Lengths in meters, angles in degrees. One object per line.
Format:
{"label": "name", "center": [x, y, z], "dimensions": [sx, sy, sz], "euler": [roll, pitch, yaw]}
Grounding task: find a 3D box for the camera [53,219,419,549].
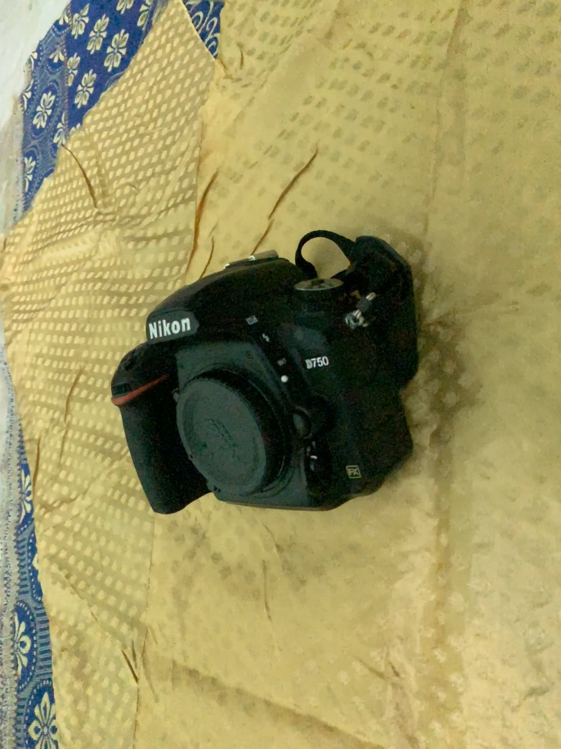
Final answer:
{"label": "camera", "center": [-0.023, 0.005, 0.270], "dimensions": [0.131, 0.073, 0.110], "euler": [-6, 106, 43]}
